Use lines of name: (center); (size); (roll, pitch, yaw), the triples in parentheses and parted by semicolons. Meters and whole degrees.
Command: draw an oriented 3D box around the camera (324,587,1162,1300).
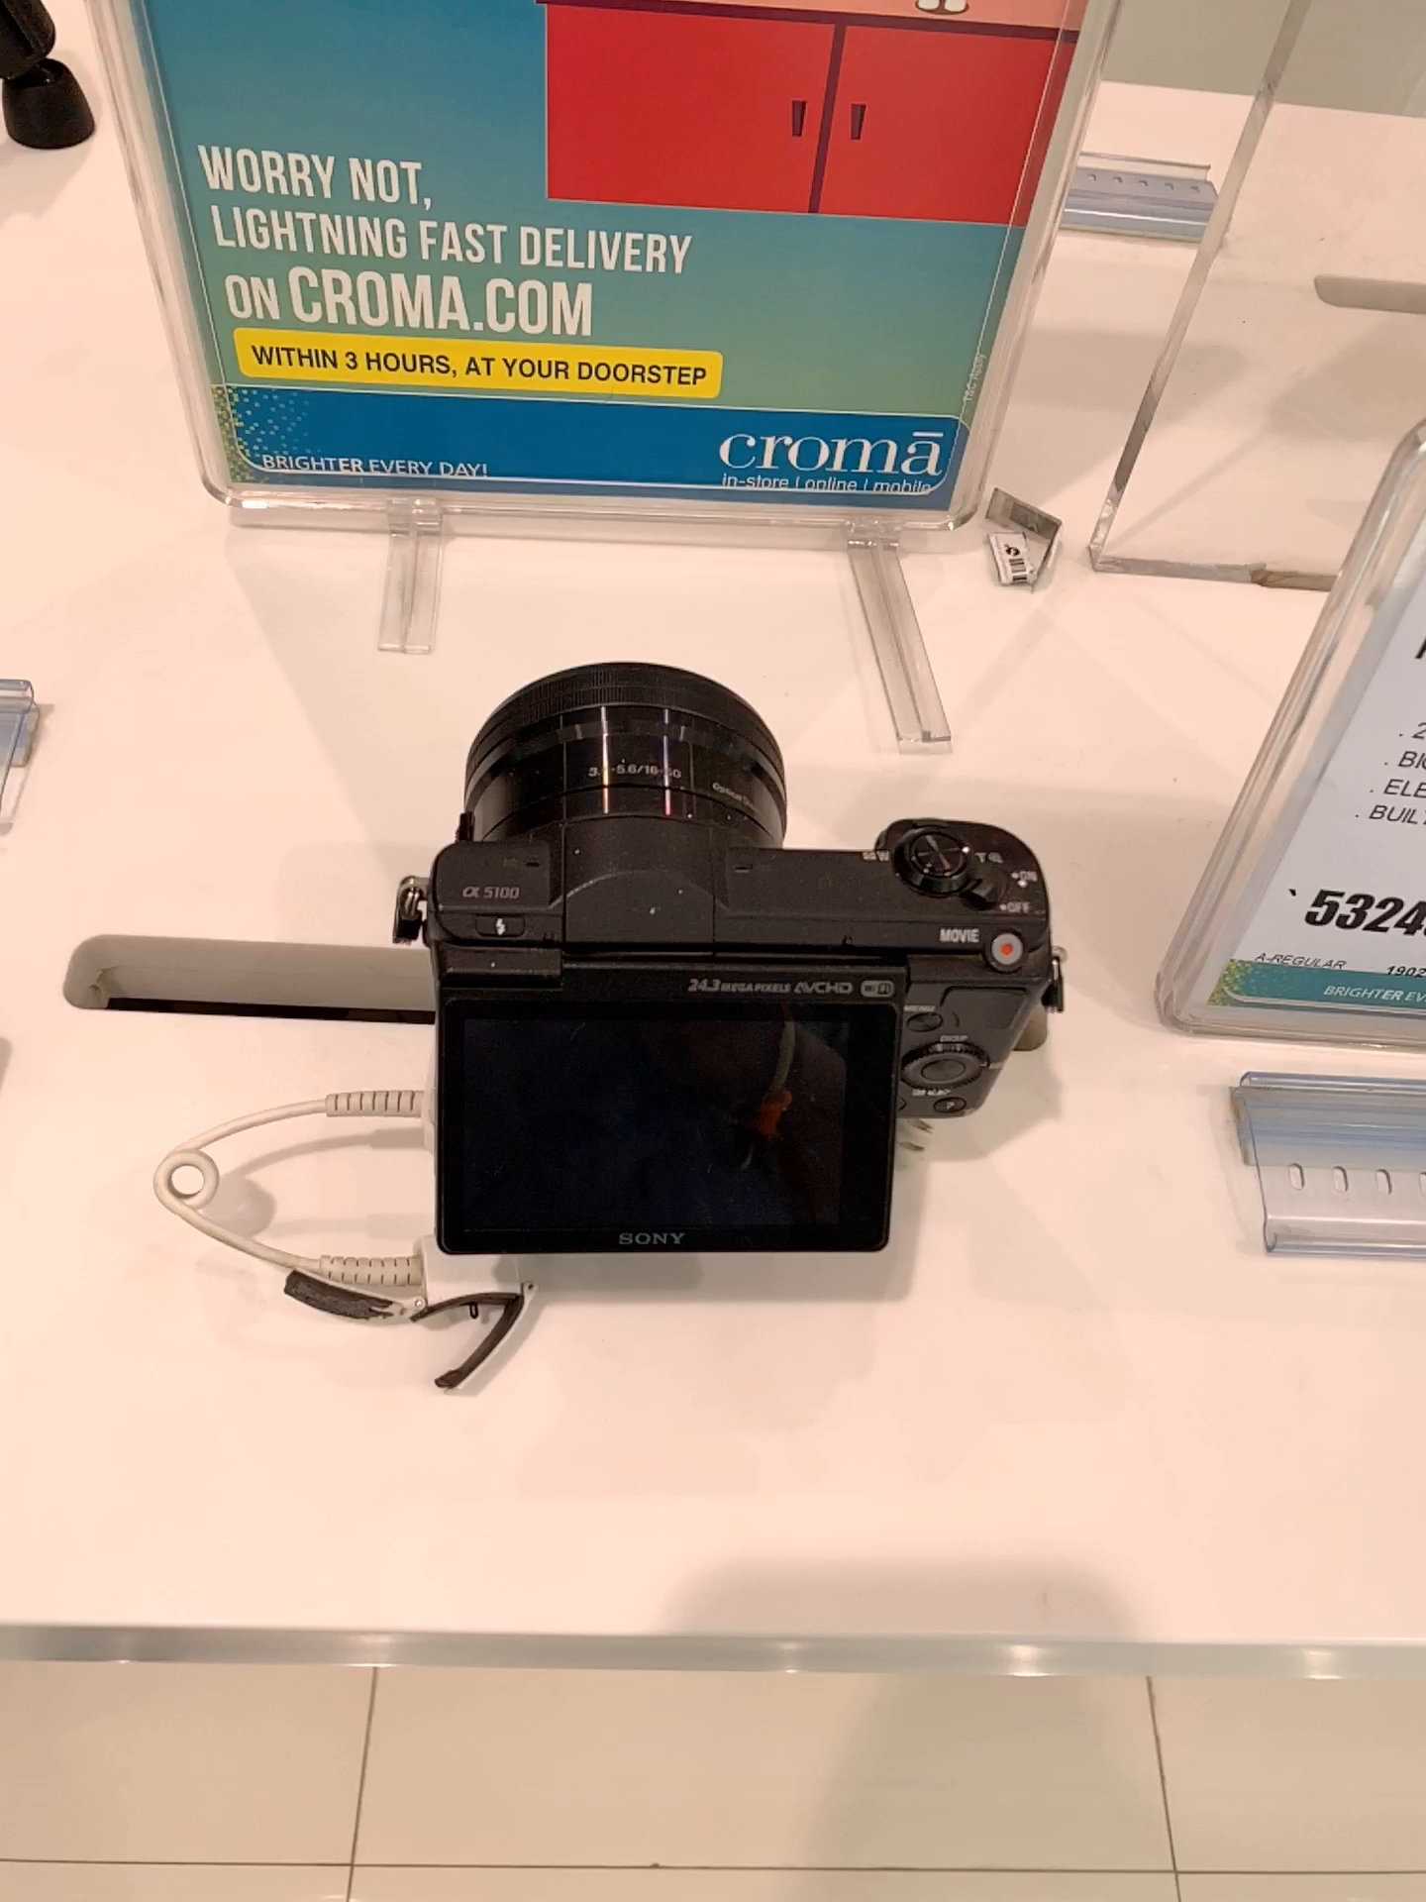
camera: (0.000, 0.002, 0.250); (0.110, 0.082, 0.088); (1, 56, -6)
